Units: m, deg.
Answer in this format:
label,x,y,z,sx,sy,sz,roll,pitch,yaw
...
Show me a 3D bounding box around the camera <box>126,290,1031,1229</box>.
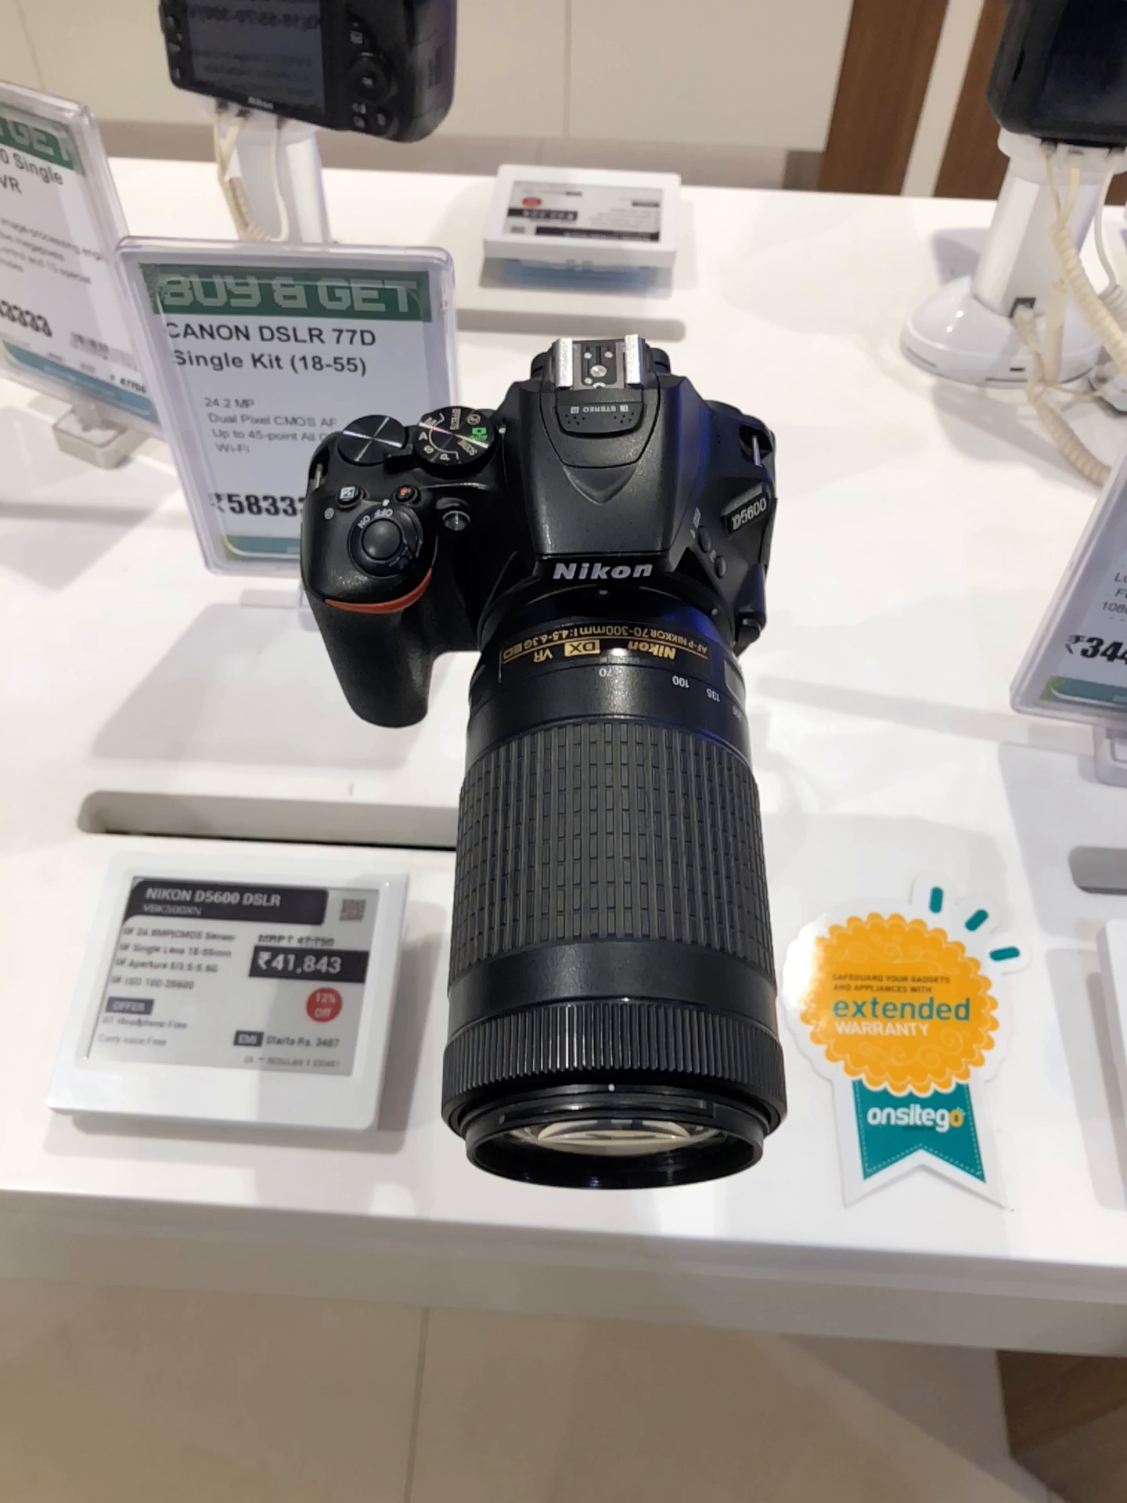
label,x,y,z,sx,sy,sz,roll,pitch,yaw
camera,0.003,-0.007,0.290,0.140,0.089,0.201,1,53,0
